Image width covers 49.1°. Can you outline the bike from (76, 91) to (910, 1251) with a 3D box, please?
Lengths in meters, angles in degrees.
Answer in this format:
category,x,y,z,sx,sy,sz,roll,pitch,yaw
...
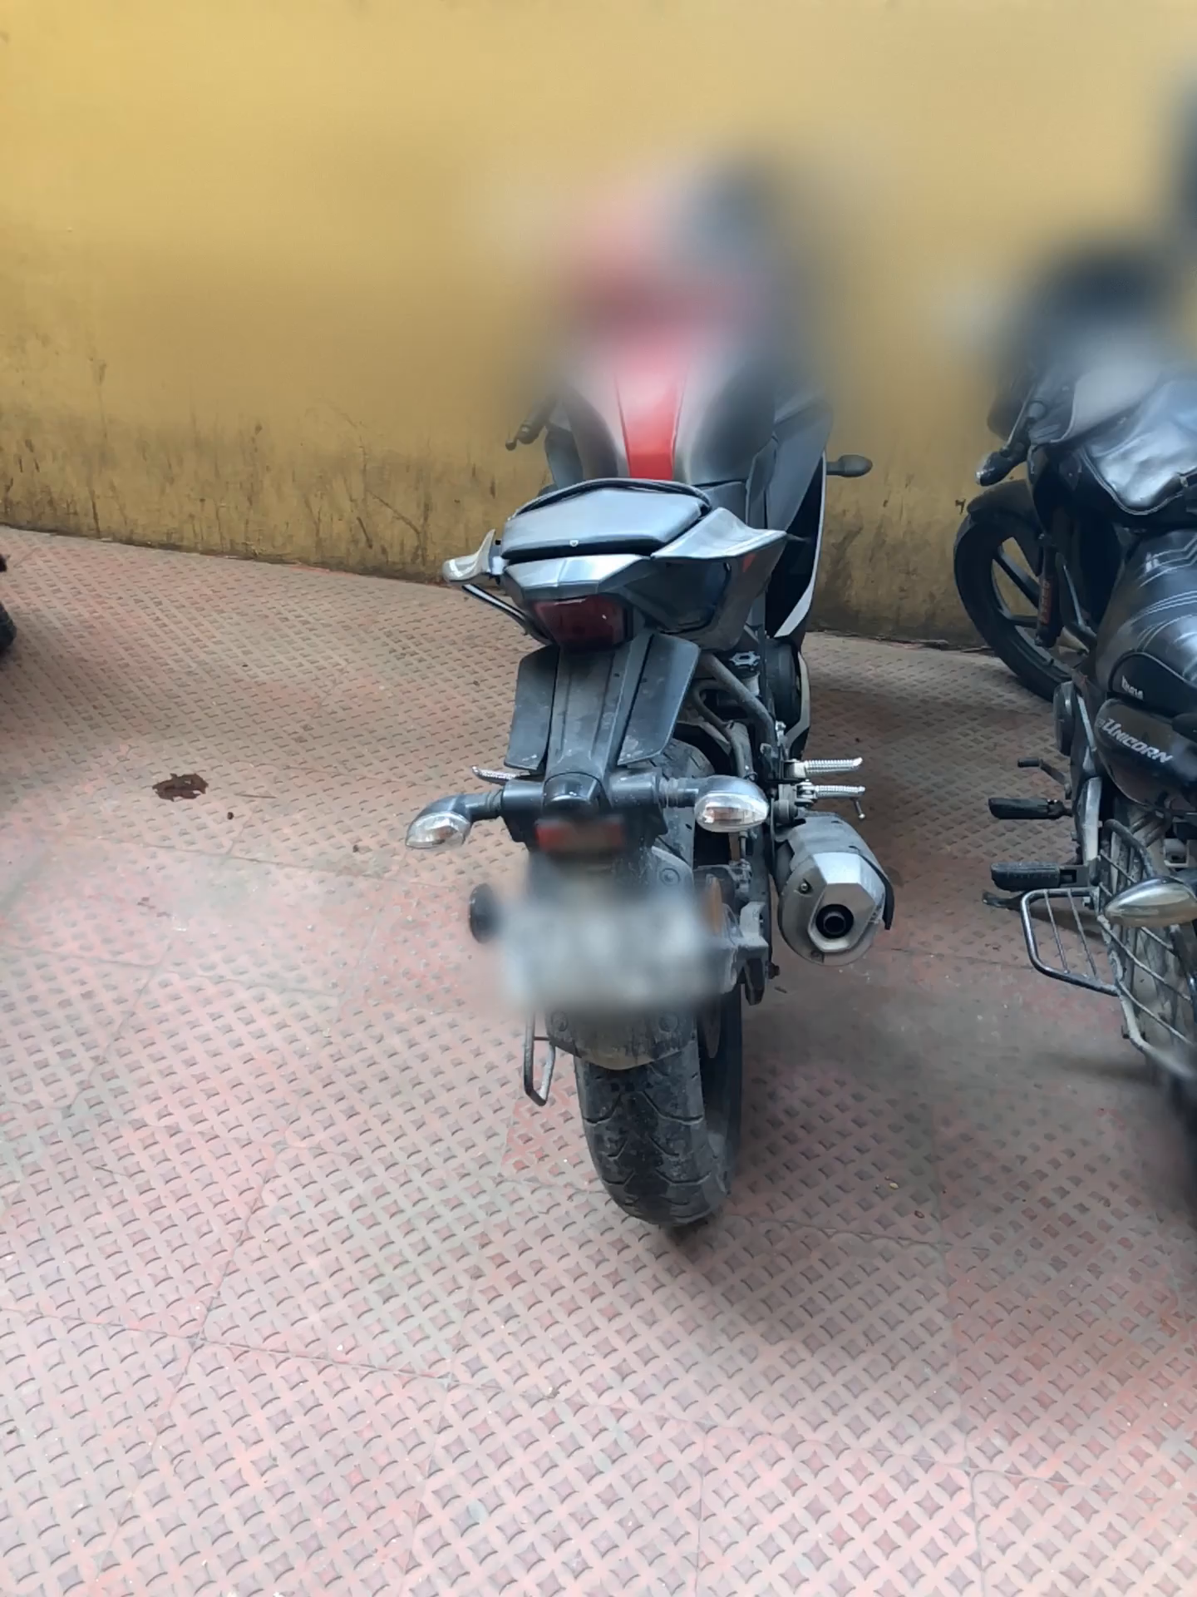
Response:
category,x,y,z,sx,sy,sz,roll,pitch,yaw
bike,-0.139,-0.412,2.057,0.725,0.870,1.754,4,37,-2
